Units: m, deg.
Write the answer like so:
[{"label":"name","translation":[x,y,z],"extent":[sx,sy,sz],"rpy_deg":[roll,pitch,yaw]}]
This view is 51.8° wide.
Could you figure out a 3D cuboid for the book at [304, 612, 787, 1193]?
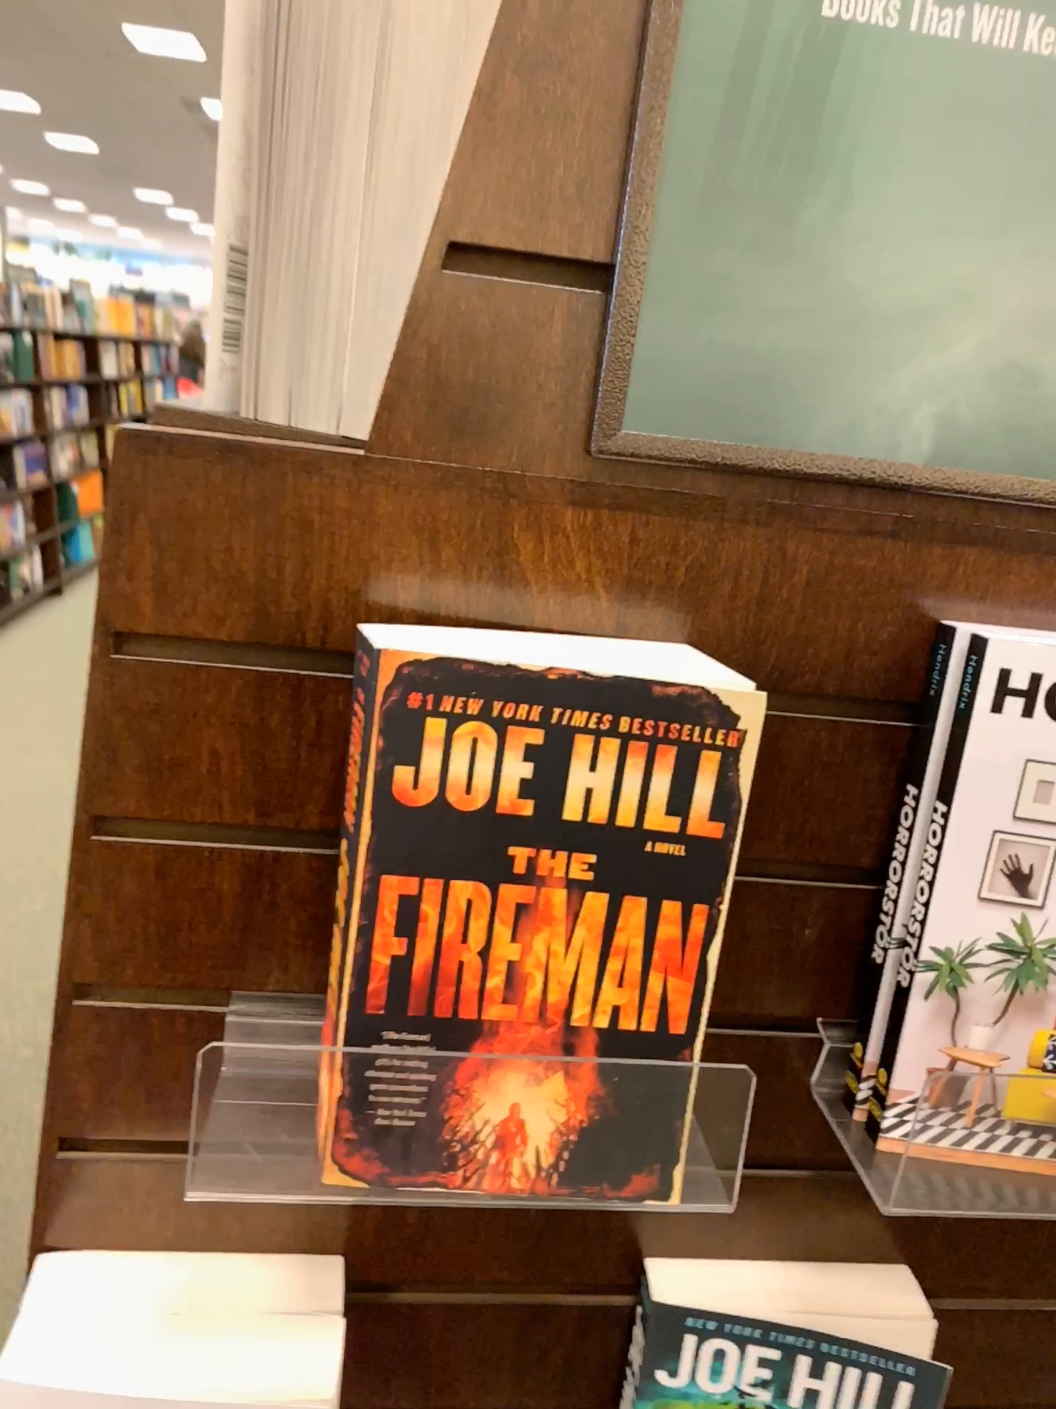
[{"label":"book","translation":[0.000,0.073,0.408],"extent":[0.146,0.194,0.069],"rpy_deg":[5,12,-8]}]

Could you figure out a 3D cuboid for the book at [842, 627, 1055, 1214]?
[{"label":"book","translation":[0.238,0.086,0.426],"extent":[0.188,0.208,0.026],"rpy_deg":[7,12,2]}]

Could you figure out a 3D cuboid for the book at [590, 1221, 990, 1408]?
[{"label":"book","translation":[0.124,0.384,0.556],"extent":[0.159,0.202,0.062],"rpy_deg":[7,12,2]}]

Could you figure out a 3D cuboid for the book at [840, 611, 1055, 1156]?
[{"label":"book","translation":[0.247,0.077,0.459],"extent":[0.188,0.208,0.026],"rpy_deg":[7,12,2]}]
